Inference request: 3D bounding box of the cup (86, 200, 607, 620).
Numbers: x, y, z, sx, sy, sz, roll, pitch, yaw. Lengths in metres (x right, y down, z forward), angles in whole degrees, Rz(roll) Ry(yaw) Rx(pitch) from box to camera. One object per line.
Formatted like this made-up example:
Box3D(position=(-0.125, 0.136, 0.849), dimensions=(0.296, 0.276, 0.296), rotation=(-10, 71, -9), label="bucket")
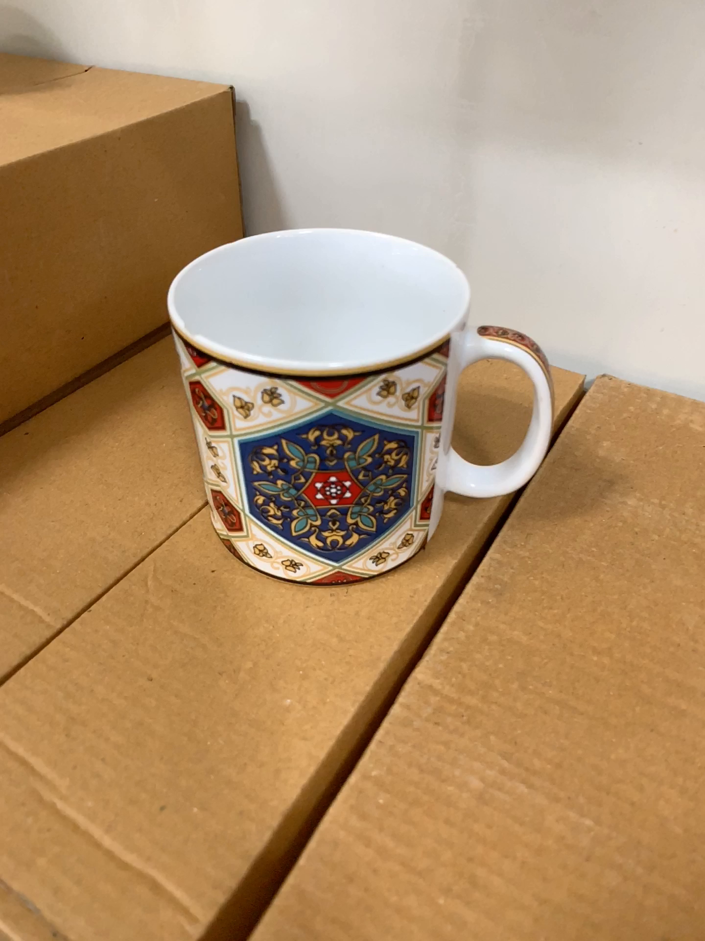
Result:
Box3D(position=(0.001, -0.019, 0.192), dimensions=(0.100, 0.069, 0.081), rotation=(4, 40, 4), label="cup")
